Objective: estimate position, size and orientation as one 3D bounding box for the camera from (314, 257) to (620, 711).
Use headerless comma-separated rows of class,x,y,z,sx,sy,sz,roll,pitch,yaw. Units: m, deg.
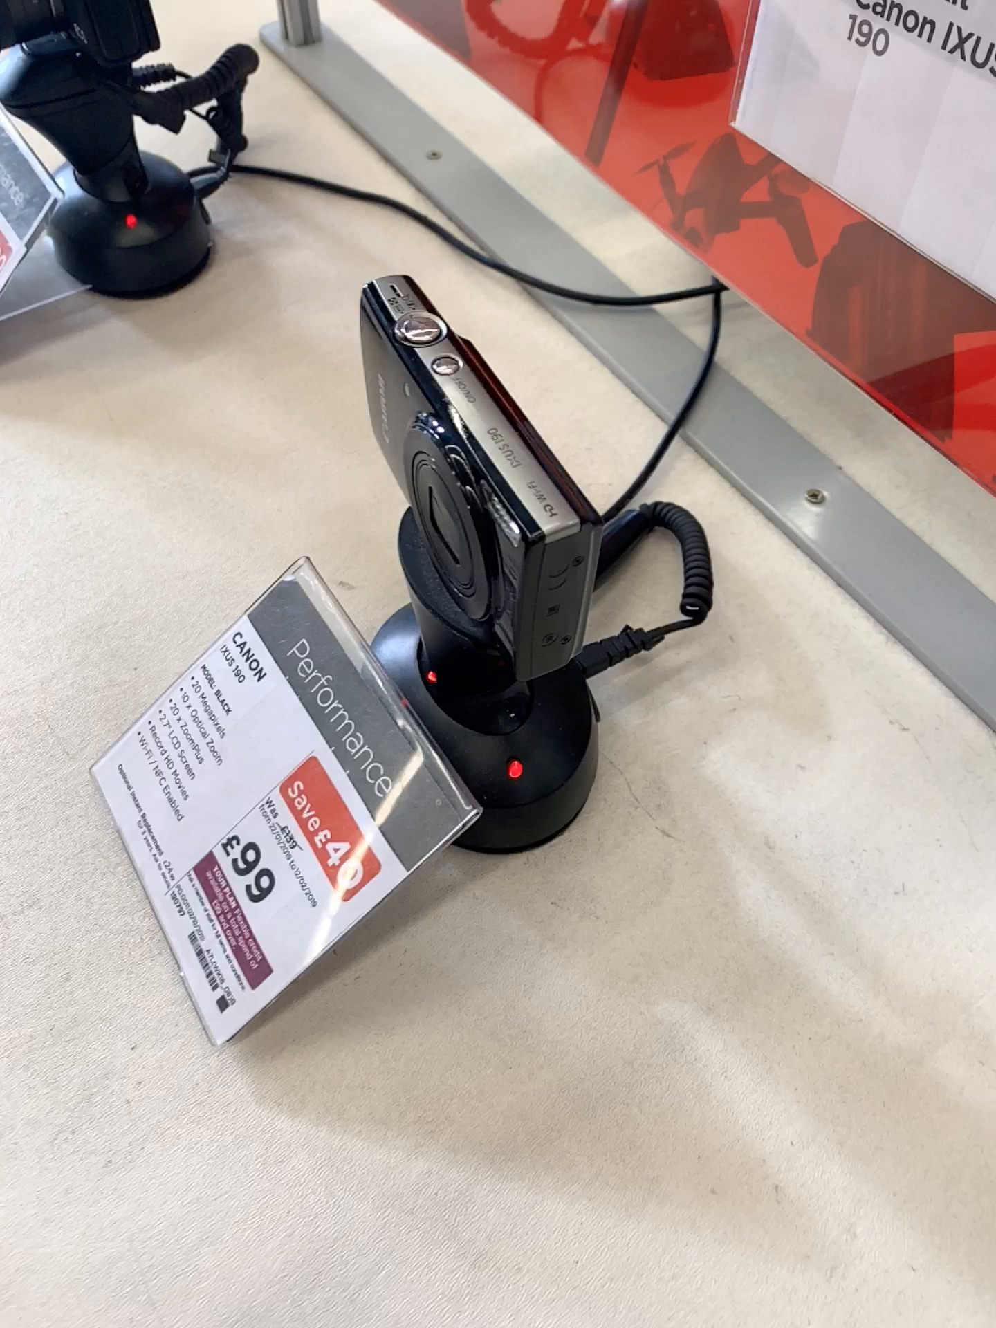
camera,-0.010,-0.046,0.249,0.030,0.050,0.101,-21,57,-14
